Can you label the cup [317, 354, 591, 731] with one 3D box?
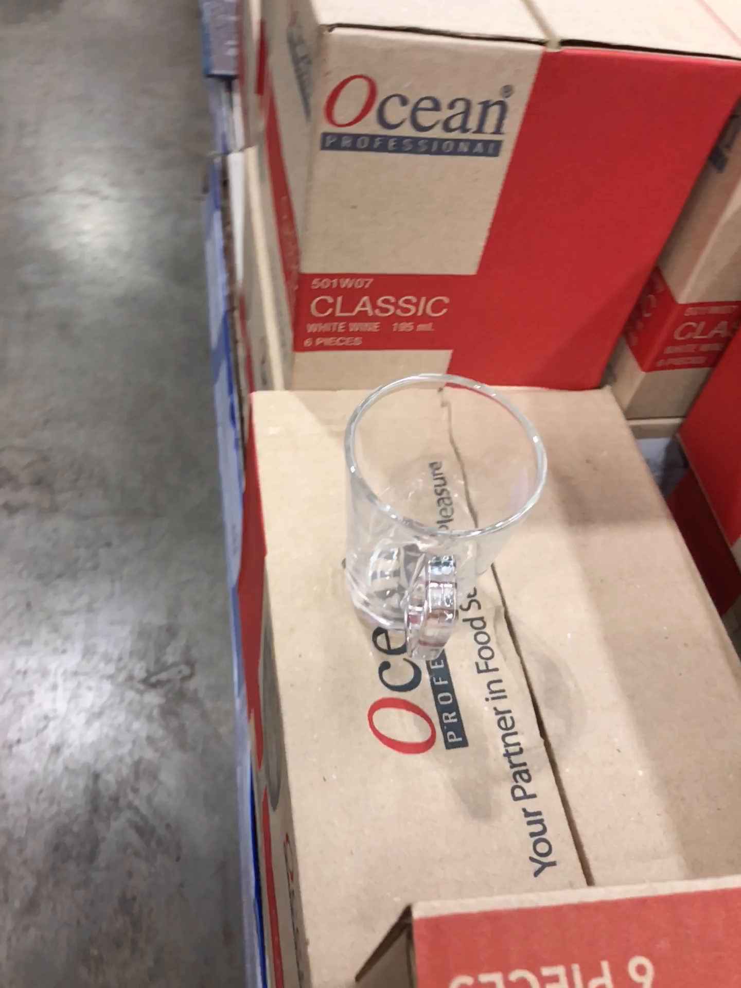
[{"bbox_3d":[0.019,0.020,0.261,0.060,0.100,0.070,5,52,-5],"label":"cup"}]
